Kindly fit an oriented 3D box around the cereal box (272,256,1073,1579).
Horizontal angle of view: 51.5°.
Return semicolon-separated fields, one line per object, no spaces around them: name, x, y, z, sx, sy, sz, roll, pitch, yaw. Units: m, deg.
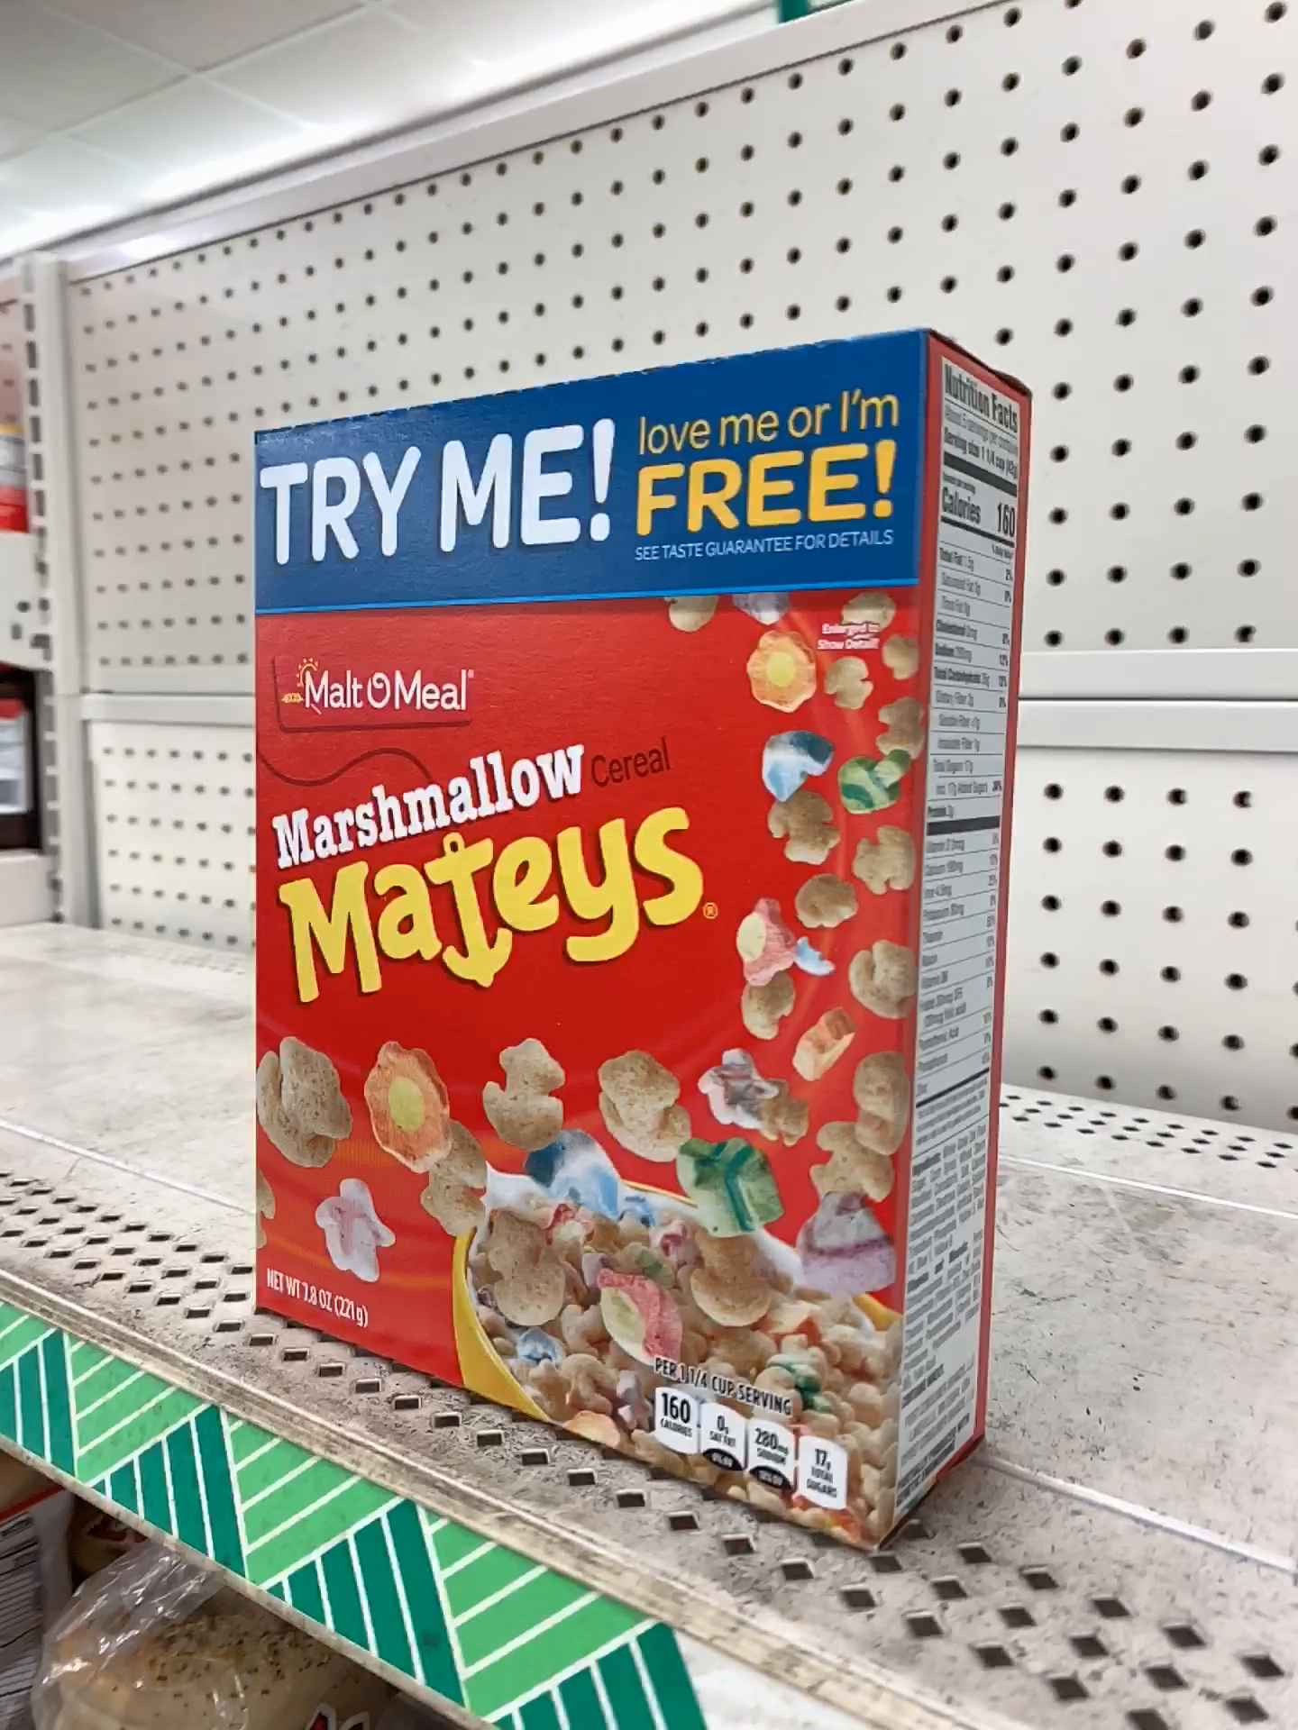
cereal box;-0.006;0.006;0.305;0.180;0.230;0.050;5;7;37
